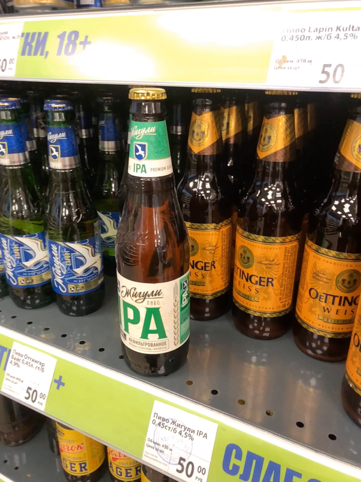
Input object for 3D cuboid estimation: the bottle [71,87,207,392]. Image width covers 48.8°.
[{"bbox_3d":[-0.030,0.002,0.361,0.080,0.258,0.070,12,27,25],"label":"bottle"}]
